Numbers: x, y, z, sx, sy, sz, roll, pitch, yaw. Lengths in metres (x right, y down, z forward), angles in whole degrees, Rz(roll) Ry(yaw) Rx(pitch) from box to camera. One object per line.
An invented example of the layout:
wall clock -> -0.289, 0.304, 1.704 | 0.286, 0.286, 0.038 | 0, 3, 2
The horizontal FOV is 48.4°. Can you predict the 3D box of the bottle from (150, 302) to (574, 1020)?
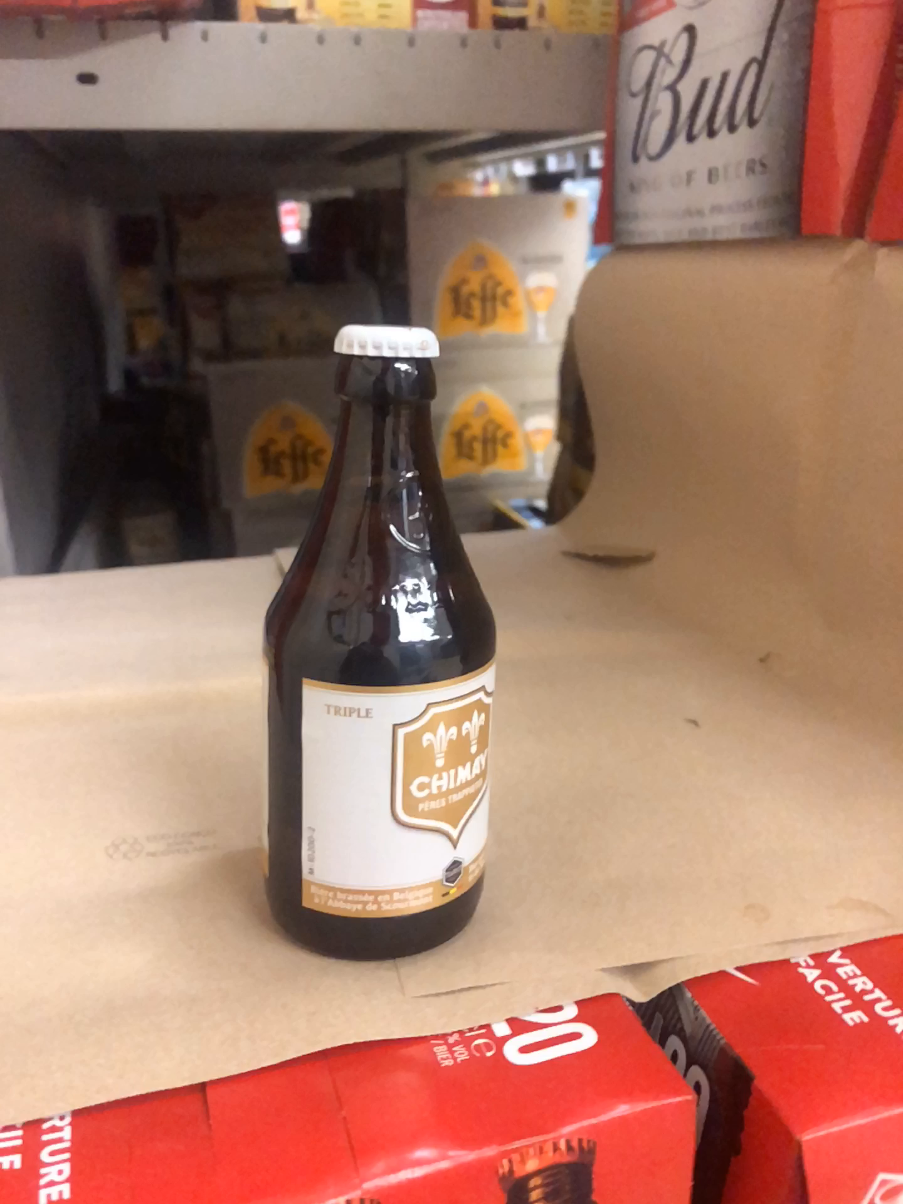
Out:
bottle -> -0.025, 0.008, 0.275 | 0.080, 0.169, 0.070 | -12, 22, -35
